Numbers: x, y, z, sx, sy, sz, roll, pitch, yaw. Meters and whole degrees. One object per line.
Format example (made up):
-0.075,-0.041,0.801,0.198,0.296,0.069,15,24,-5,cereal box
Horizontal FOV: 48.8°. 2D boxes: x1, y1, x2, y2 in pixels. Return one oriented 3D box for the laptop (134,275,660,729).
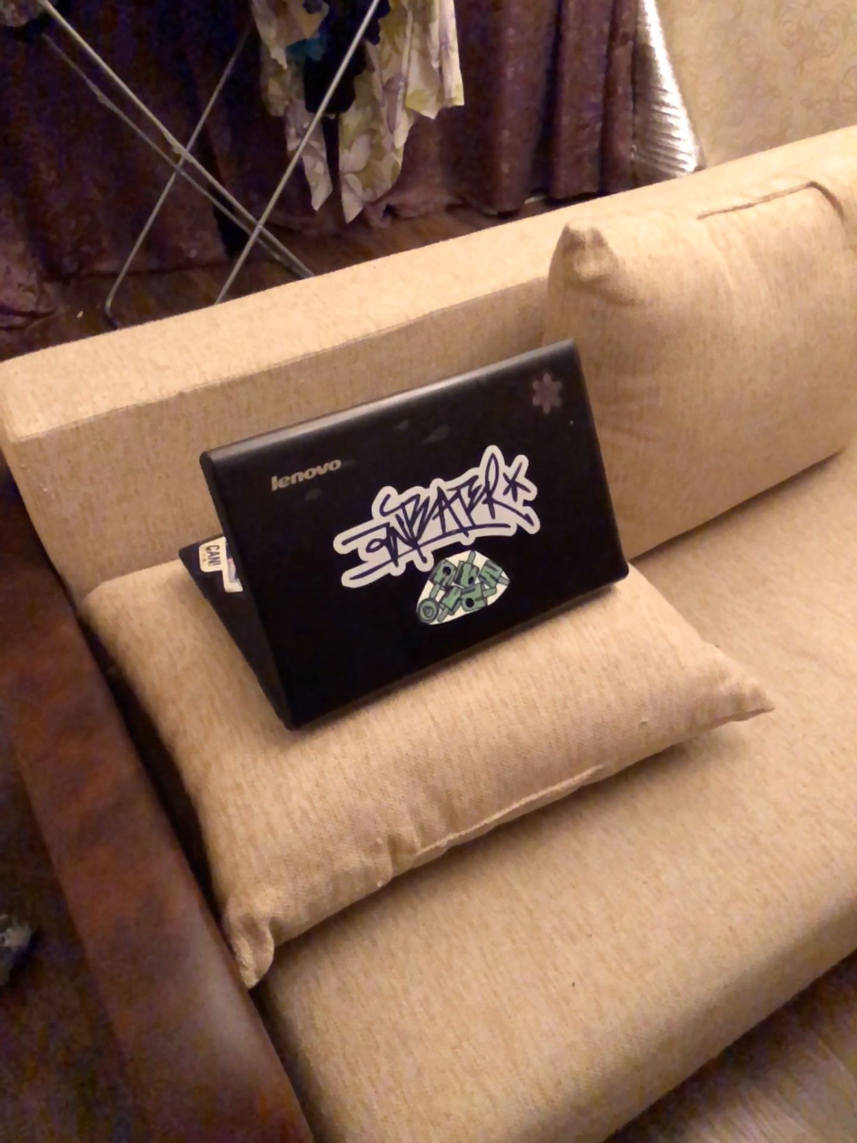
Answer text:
-0.026,-0.092,0.956,0.413,0.222,0.268,-23,50,-25,laptop
